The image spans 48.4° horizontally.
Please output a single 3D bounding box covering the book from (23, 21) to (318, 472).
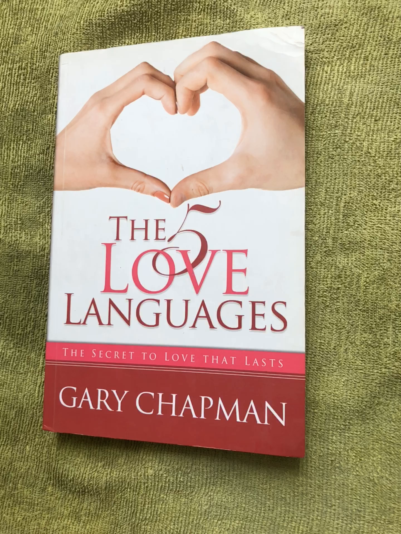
[{"bbox_3d":[-0.014,-0.012,0.226,0.140,0.030,0.200,0,85,13],"label":"book"}]
